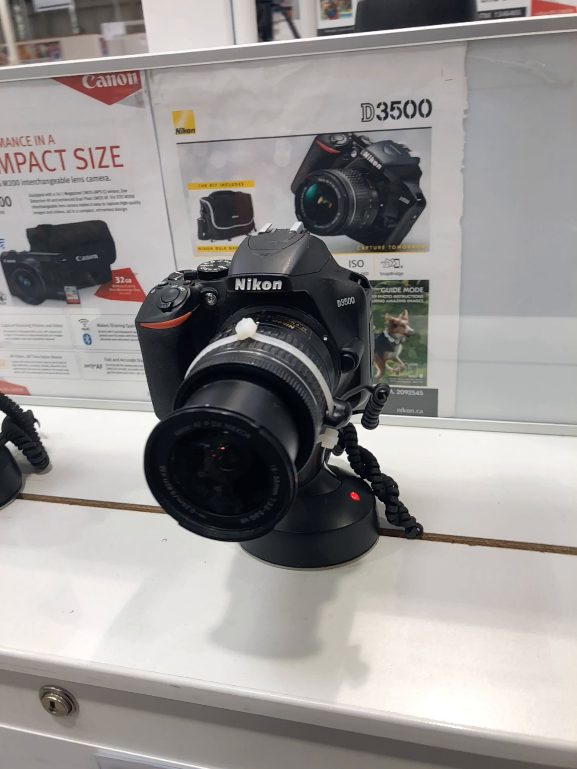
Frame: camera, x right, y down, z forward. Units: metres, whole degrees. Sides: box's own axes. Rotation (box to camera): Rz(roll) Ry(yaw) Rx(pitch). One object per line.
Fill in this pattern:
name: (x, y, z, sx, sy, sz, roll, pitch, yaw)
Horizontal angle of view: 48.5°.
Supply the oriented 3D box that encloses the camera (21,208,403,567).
camera: (-0.013, -0.016, 0.339, 0.140, 0.110, 0.191, 1, 26, 11)
